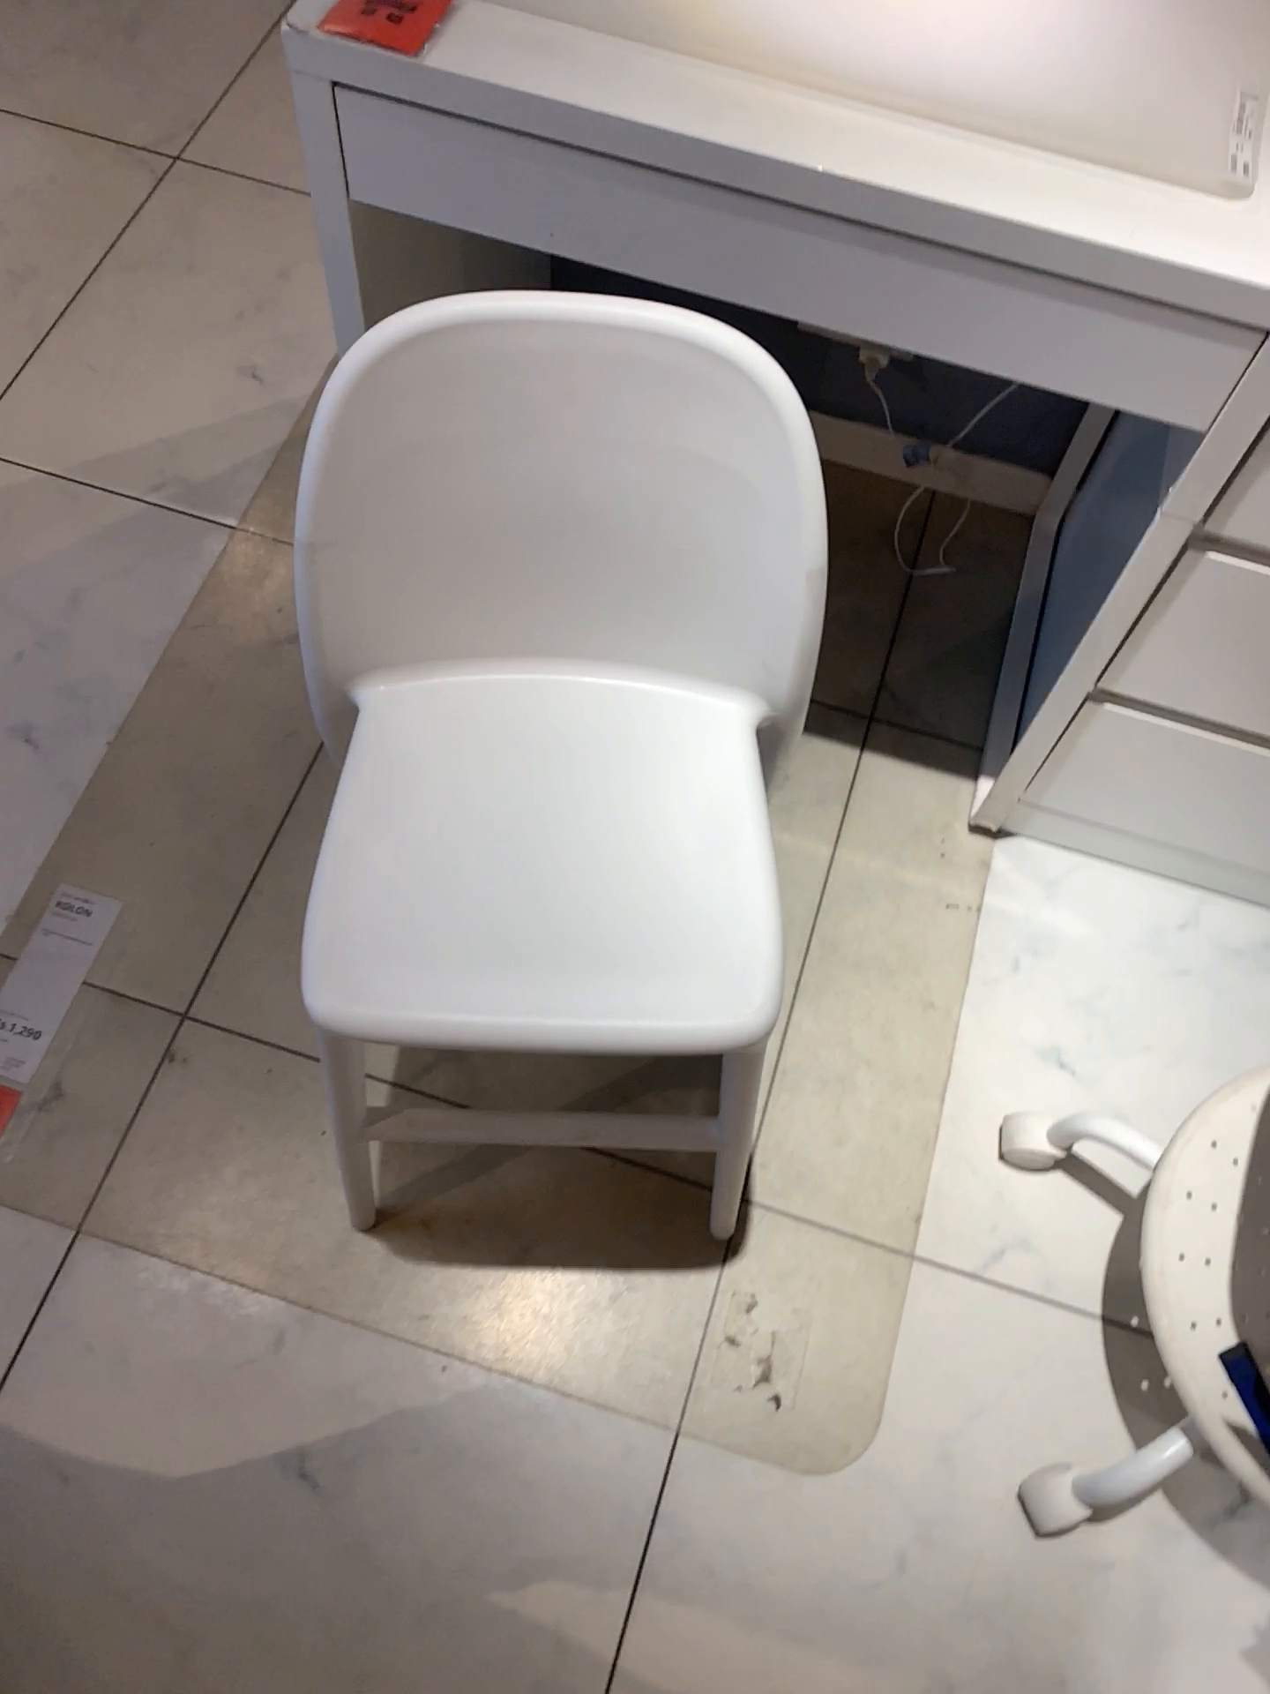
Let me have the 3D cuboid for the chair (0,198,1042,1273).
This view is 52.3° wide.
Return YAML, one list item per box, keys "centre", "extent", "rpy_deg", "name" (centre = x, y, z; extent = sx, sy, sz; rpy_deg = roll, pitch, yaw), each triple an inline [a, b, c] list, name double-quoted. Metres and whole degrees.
- centre: [-0.062, 0.007, 0.996]
  extent: [0.450, 0.729, 0.491]
  rpy_deg: [3, 63, -3]
  name: "chair"
